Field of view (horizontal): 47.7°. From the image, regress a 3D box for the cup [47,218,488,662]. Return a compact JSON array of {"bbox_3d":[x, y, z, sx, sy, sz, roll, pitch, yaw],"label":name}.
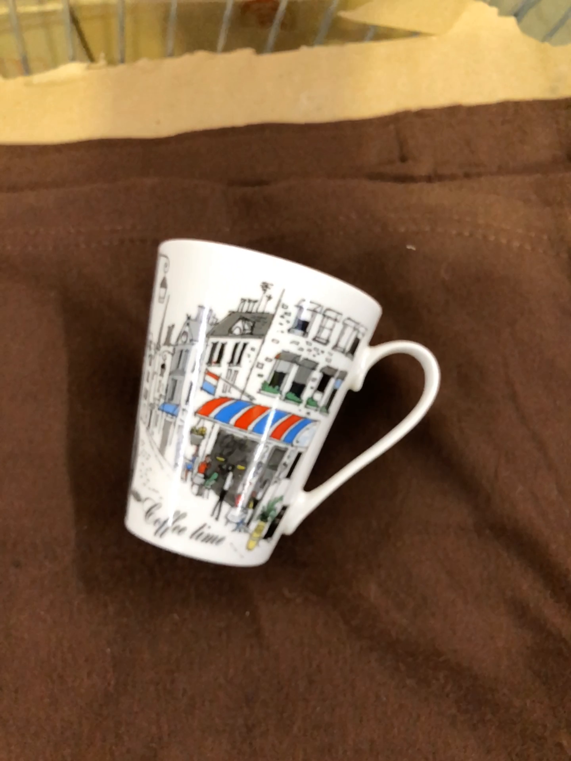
[{"bbox_3d":[-0.003,0.019,0.238,0.110,0.080,0.110,0,84,4],"label":"cup"}]
